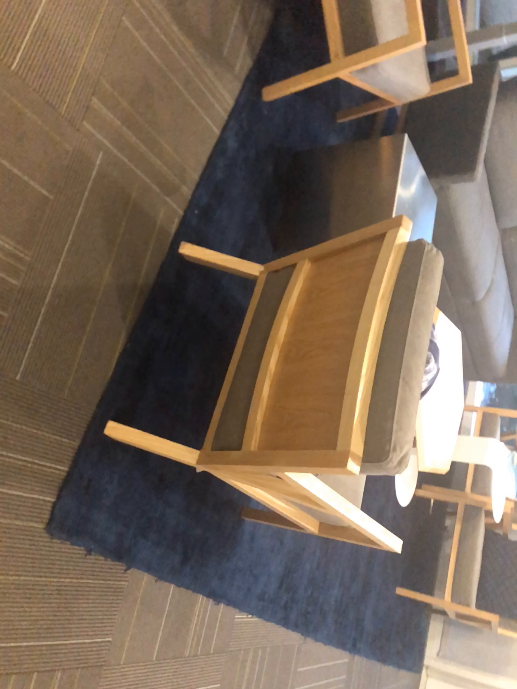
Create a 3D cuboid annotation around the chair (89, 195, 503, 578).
[{"bbox_3d":[0.197,0.154,1.645,0.834,0.774,0.673,48,52,-48],"label":"chair"}]
